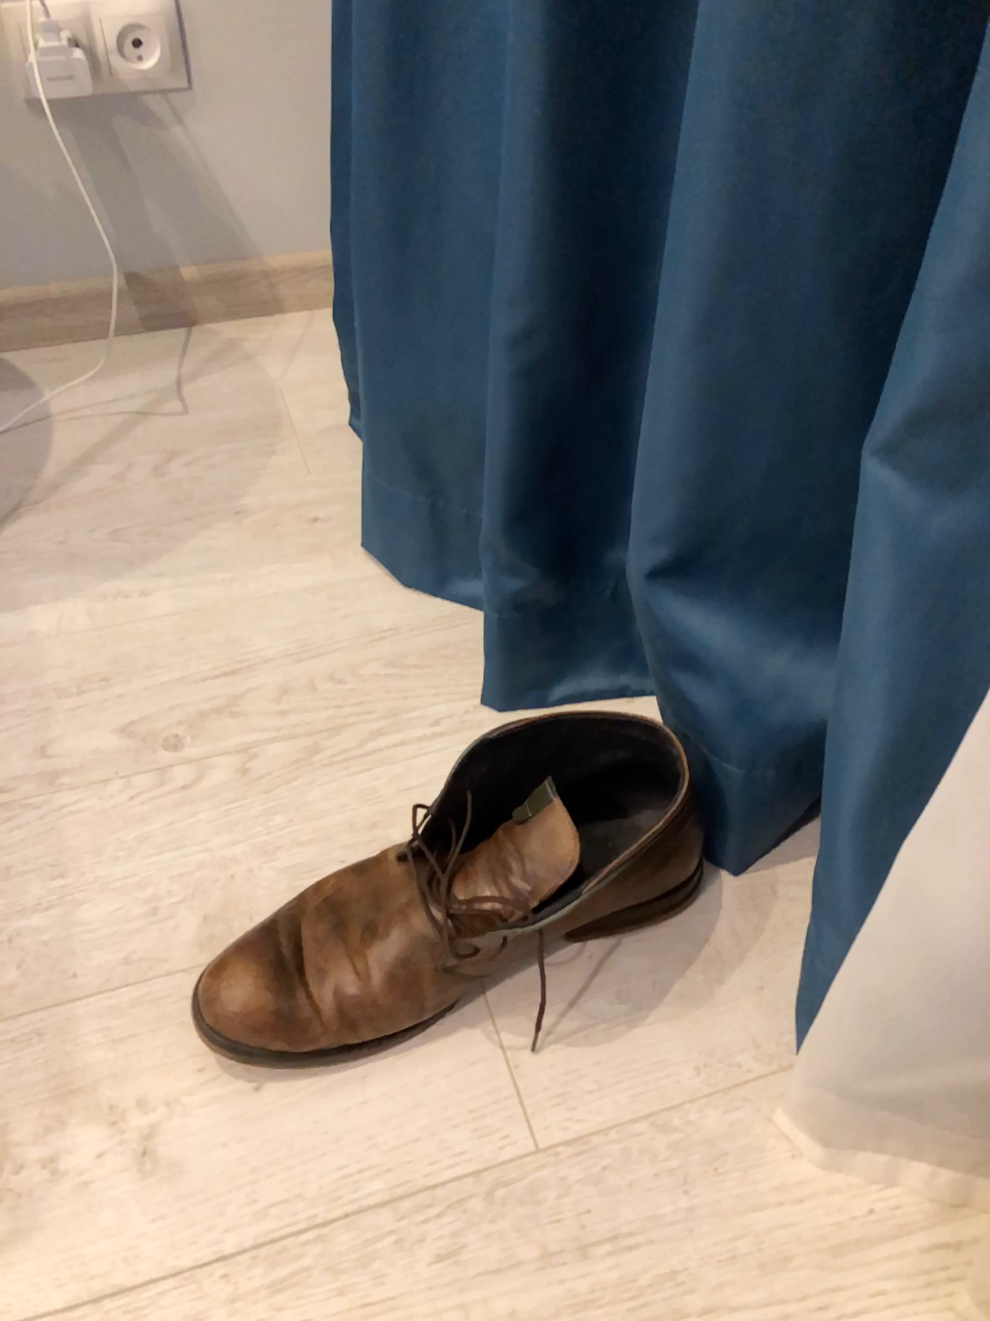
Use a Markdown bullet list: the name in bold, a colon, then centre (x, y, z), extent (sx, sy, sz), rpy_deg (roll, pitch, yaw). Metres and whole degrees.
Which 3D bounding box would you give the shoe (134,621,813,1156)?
- **shoe**: centre (-0.011, 0.118, 0.605), extent (0.321, 0.159, 0.131), rpy_deg (-16, 45, -17)
